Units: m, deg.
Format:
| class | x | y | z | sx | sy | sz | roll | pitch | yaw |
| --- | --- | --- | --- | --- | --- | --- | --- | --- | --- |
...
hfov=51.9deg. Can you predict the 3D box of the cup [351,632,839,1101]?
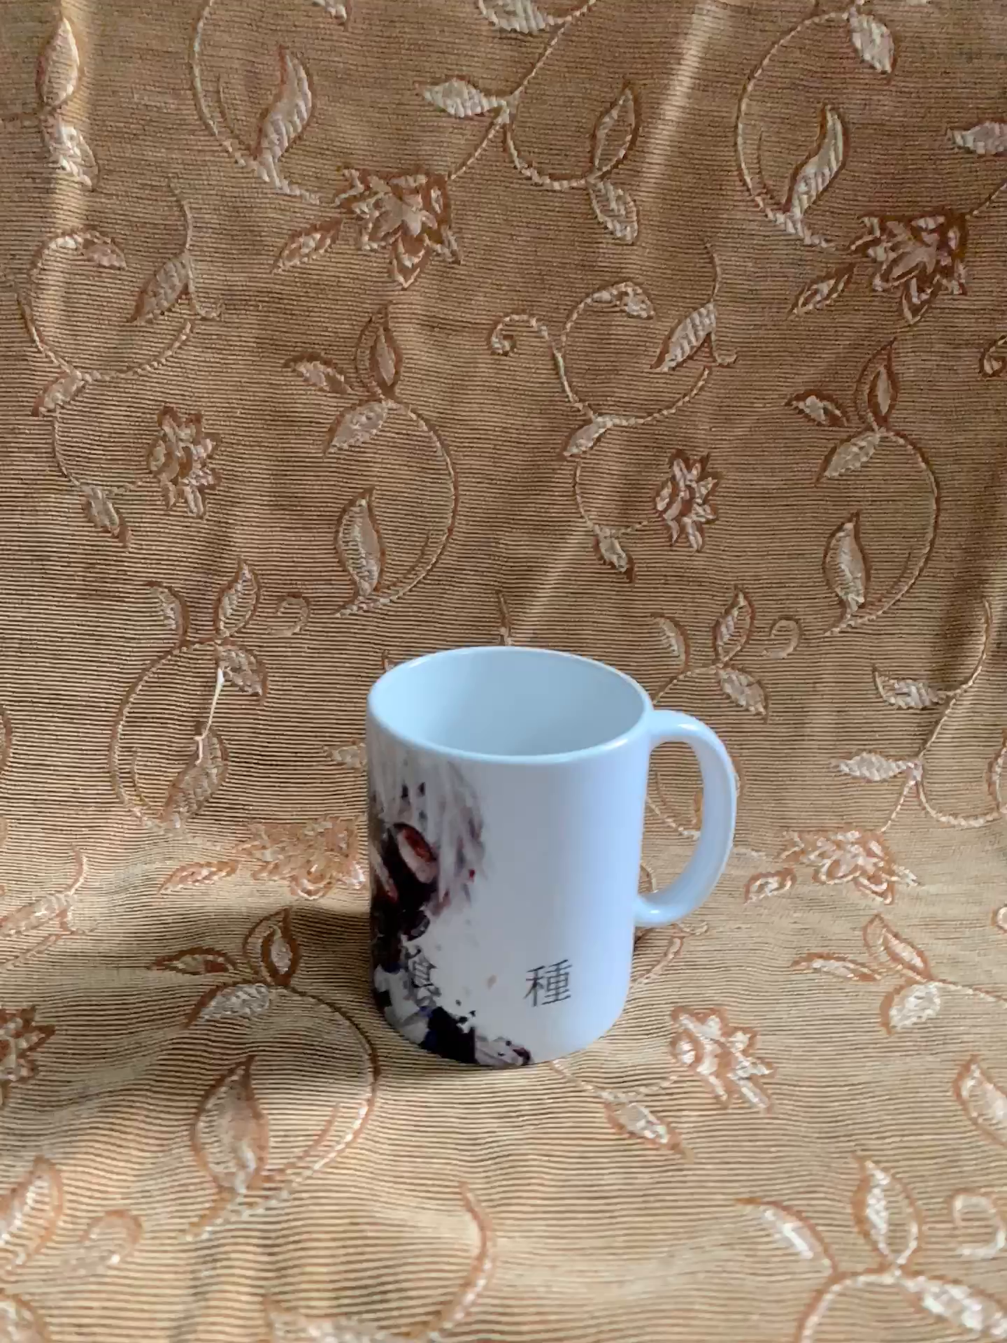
| class | x | y | z | sx | sy | sz | roll | pitch | yaw |
| --- | --- | --- | --- | --- | --- | --- | --- | --- | --- |
| cup | 0.018 | 0.052 | 0.309 | 0.120 | 0.102 | 0.080 | -2 | 21 | -11 |
